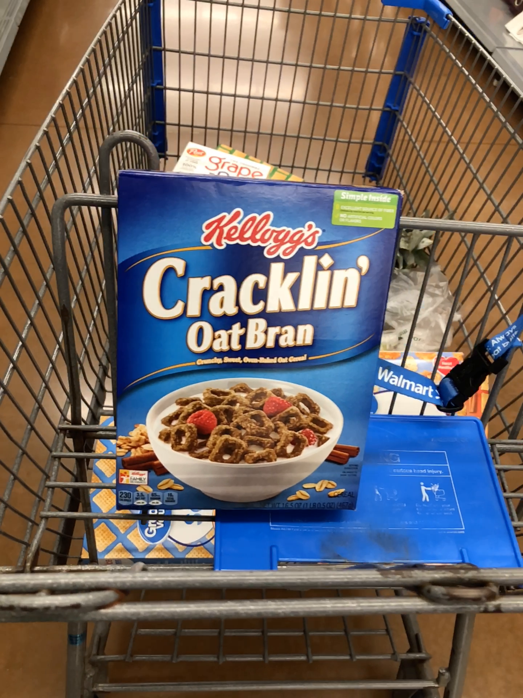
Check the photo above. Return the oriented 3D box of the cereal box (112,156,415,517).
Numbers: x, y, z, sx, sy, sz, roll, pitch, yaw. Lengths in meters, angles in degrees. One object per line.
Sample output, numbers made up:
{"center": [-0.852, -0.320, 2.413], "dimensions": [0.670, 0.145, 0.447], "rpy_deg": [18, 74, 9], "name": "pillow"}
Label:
{"center": [-0.008, -0.001, 0.438], "dimensions": [0.200, 0.260, 0.050], "rpy_deg": [2, 16, -7], "name": "cereal box"}
